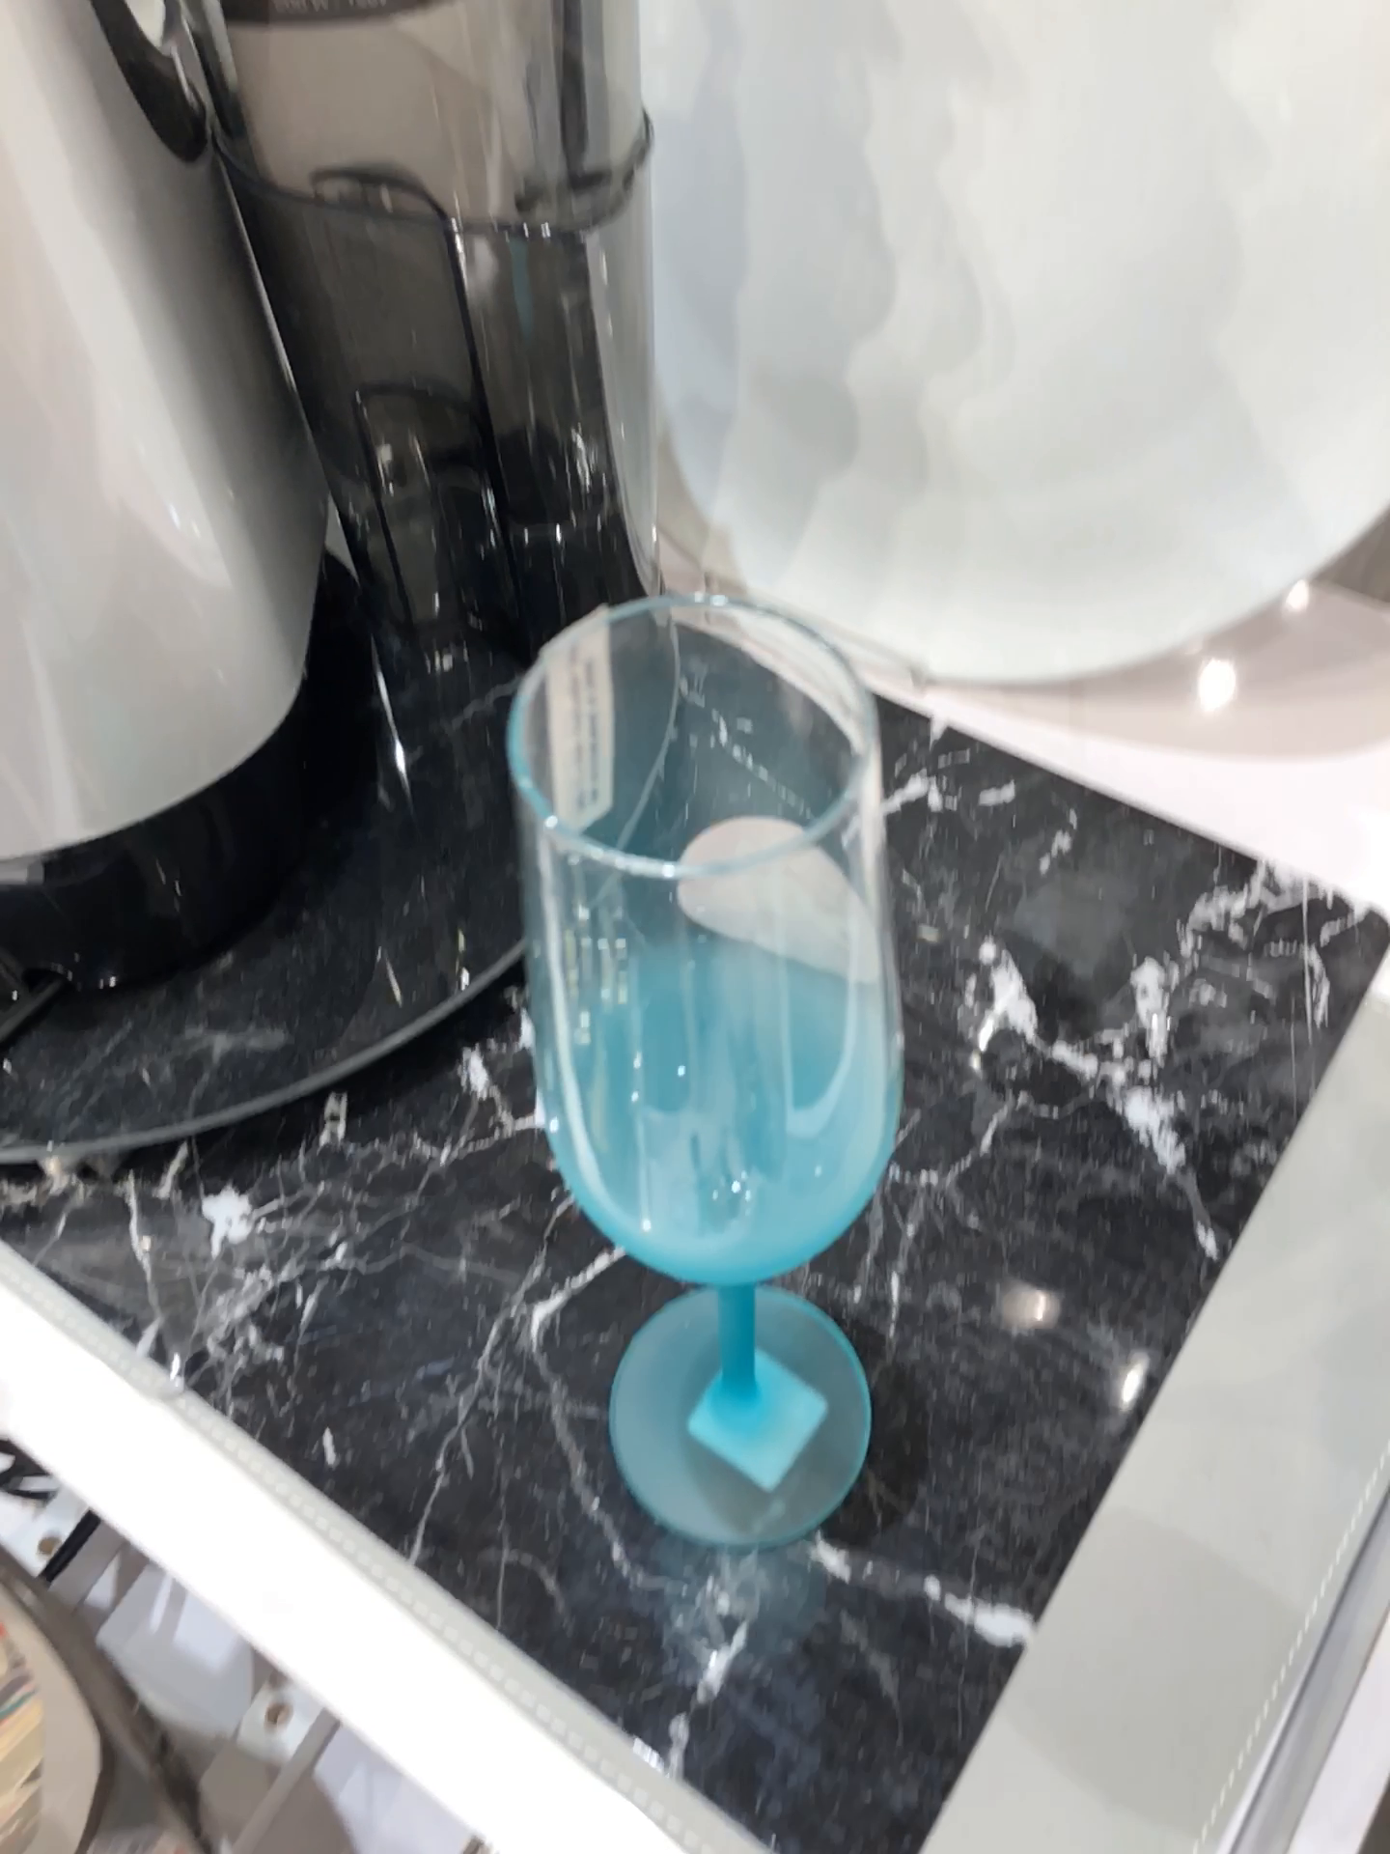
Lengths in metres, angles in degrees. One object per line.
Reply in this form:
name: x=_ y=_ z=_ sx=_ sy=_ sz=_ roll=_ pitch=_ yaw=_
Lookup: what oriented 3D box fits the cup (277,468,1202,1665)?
cup: x=0.006 y=0.051 z=0.261 sx=0.070 sy=0.240 sz=0.070 roll=-1 pitch=56 yaw=1
